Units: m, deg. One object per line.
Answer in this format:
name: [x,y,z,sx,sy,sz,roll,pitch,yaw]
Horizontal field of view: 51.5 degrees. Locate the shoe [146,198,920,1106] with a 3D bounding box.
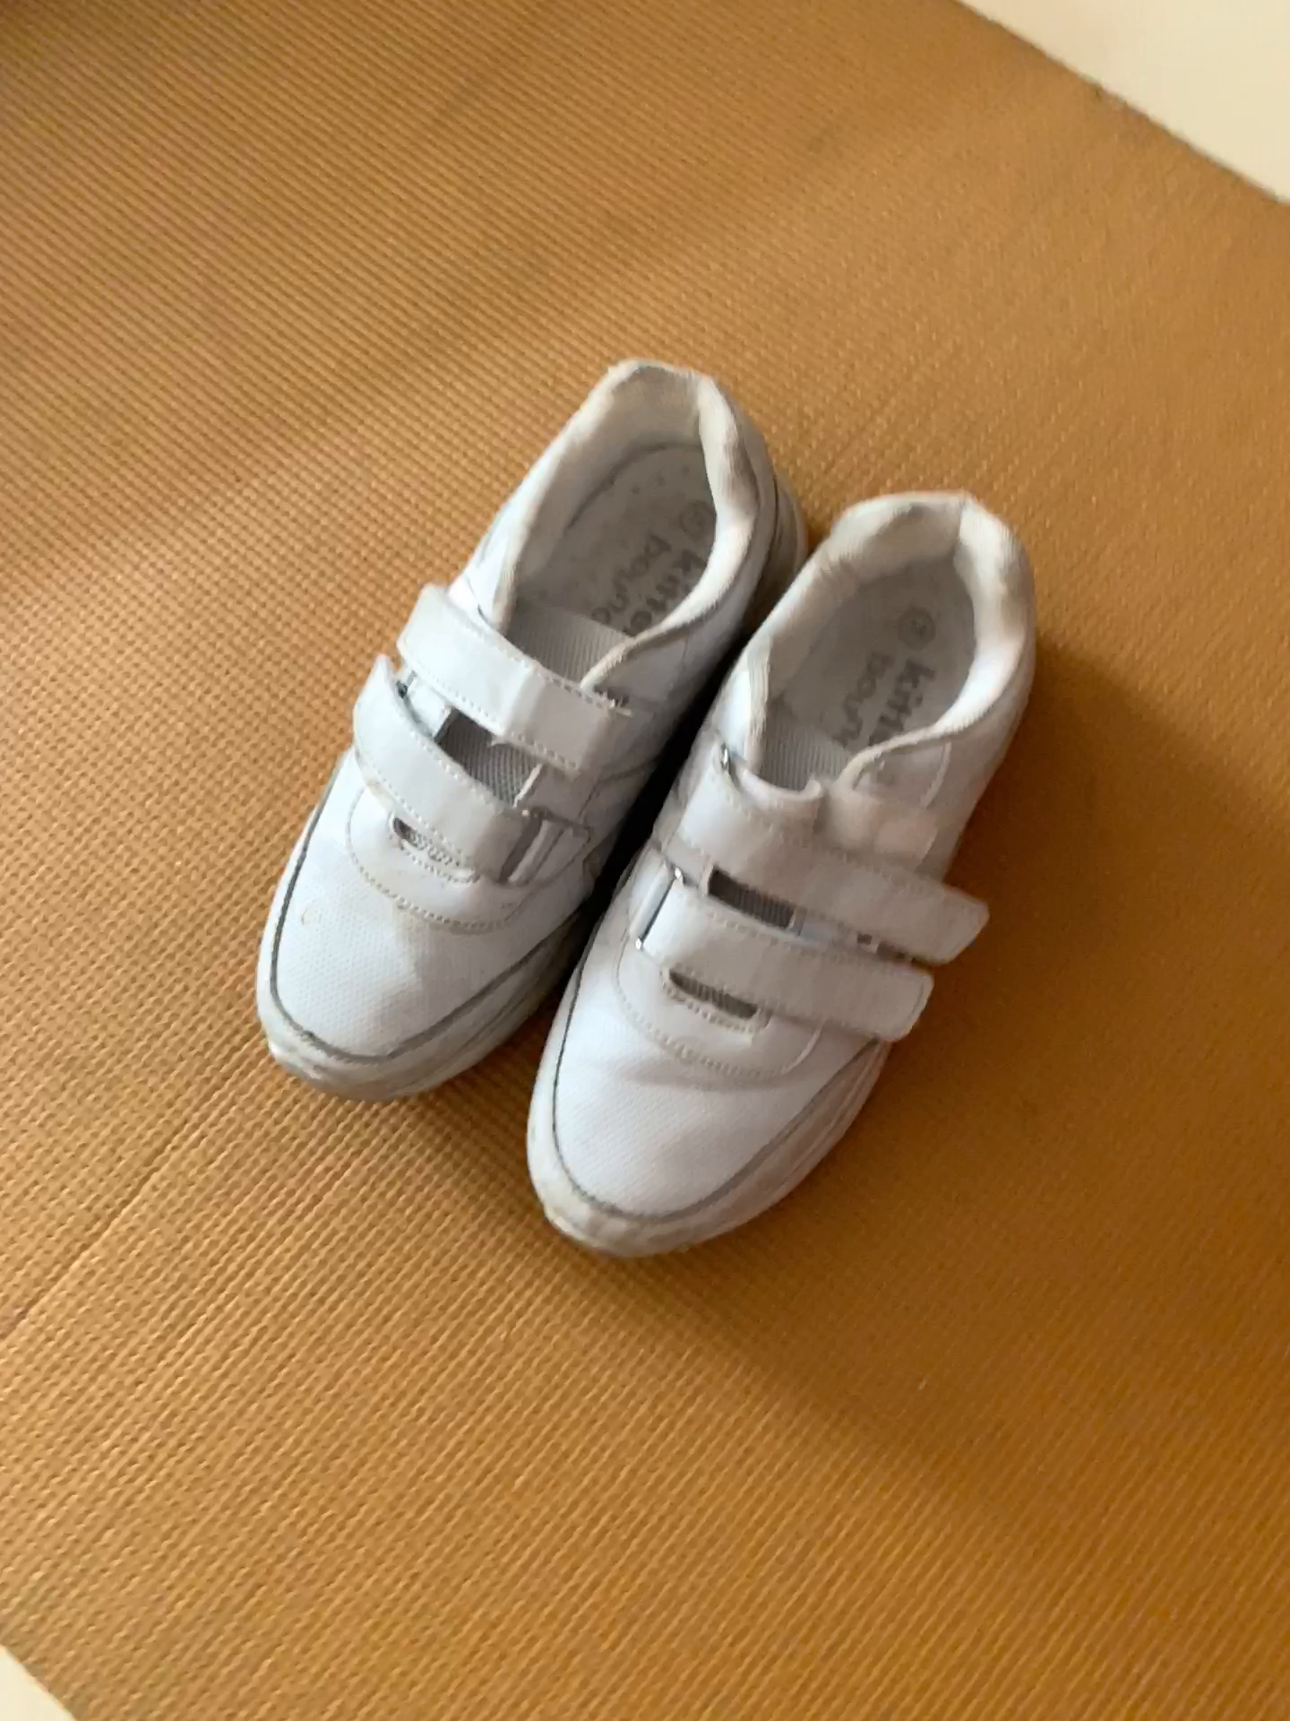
shoe: [-0.024,-0.056,0.404,0.090,0.100,0.240,31,79,8]

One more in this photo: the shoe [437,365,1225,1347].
shoe: [0.054,-0.004,0.379,0.090,0.070,0.250,31,79,8]
